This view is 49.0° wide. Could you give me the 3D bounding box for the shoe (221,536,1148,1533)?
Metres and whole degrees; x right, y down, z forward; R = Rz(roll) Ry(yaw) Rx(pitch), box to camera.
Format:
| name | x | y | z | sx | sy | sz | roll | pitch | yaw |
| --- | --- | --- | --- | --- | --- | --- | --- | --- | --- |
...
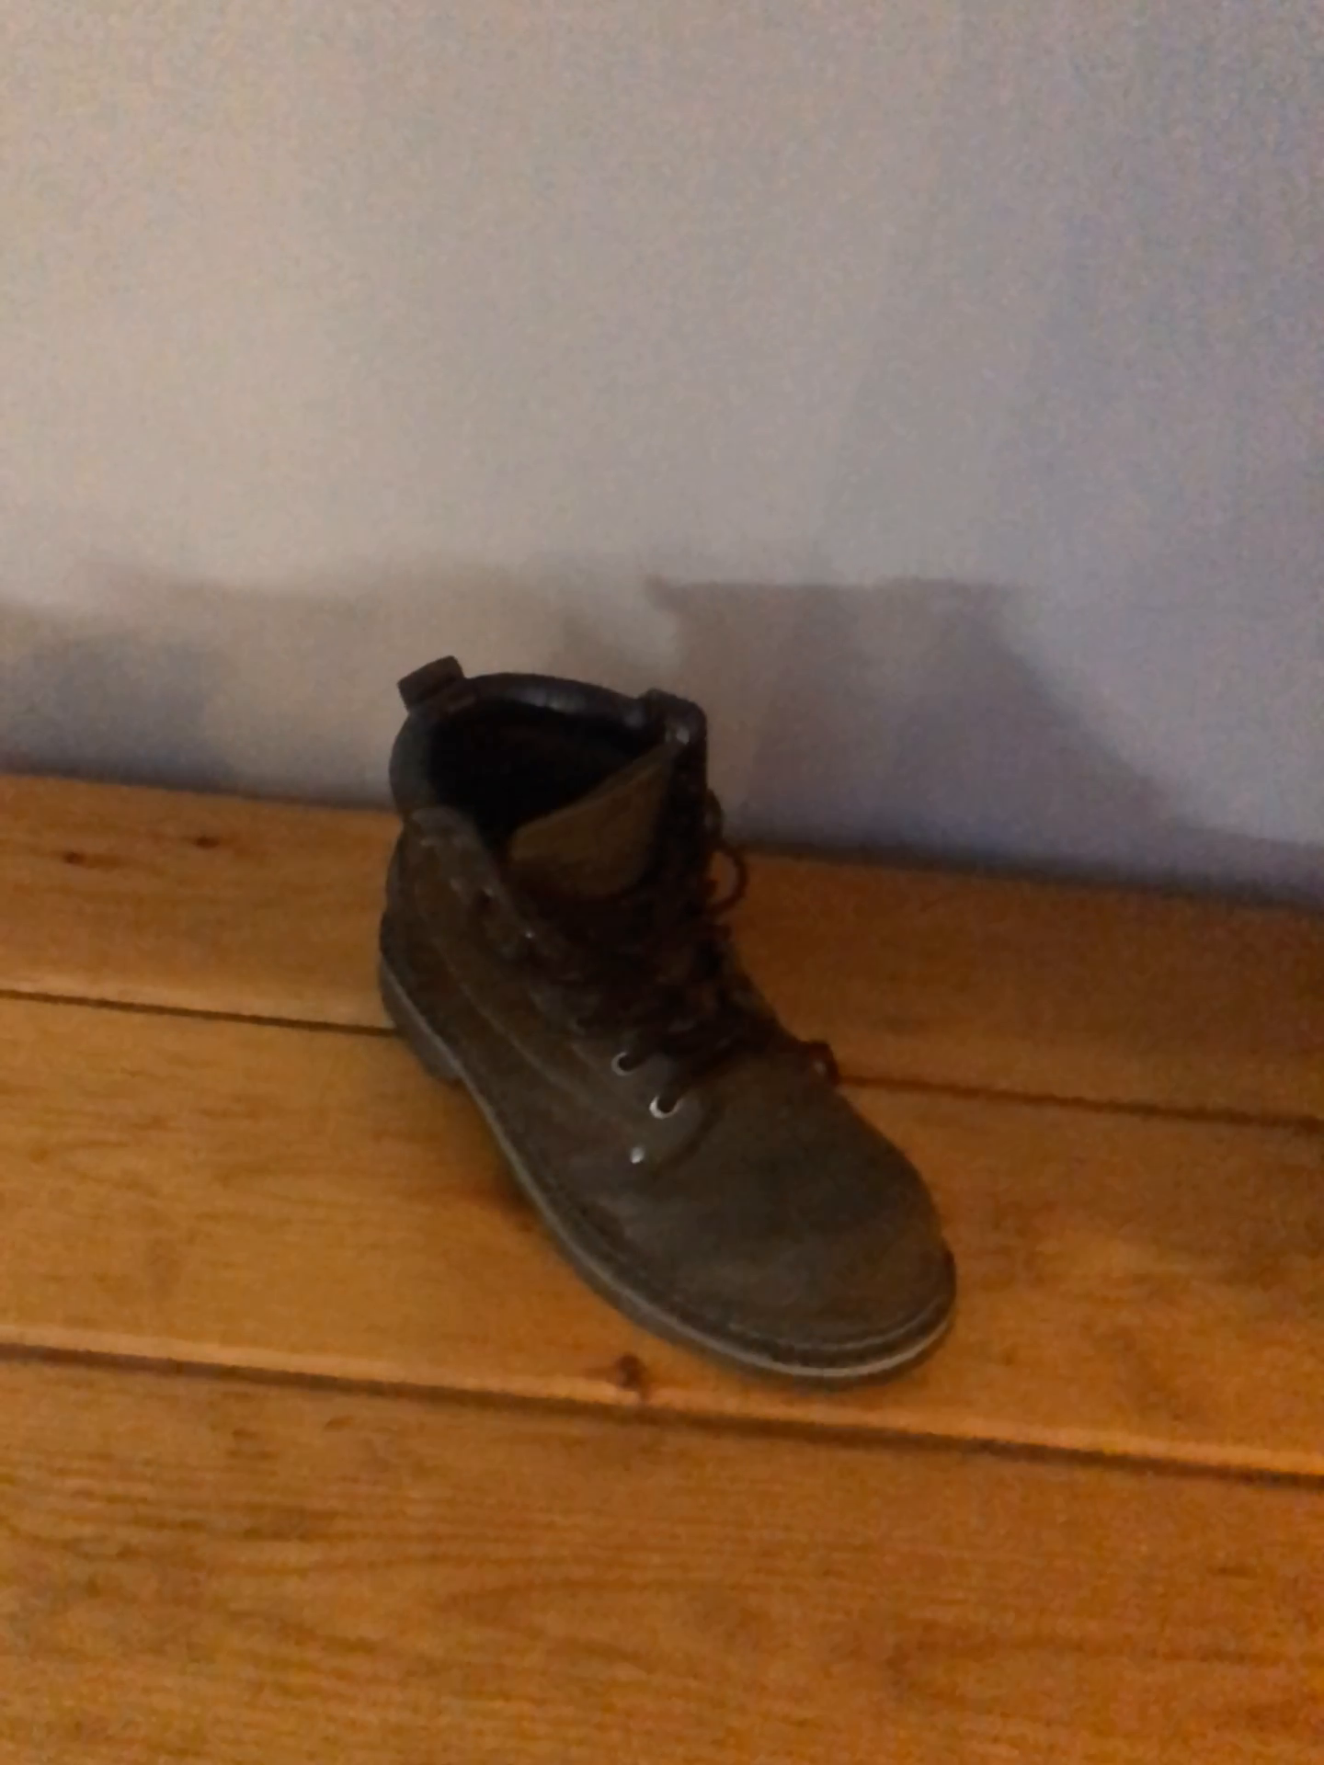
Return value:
| name | x | y | z | sx | sy | sz | roll | pitch | yaw |
| --- | --- | --- | --- | --- | --- | --- | --- | --- | --- |
| shoe | -0.015 | 0.041 | 0.552 | 0.130 | 0.189 | 0.321 | -29 | 54 | -32 |
